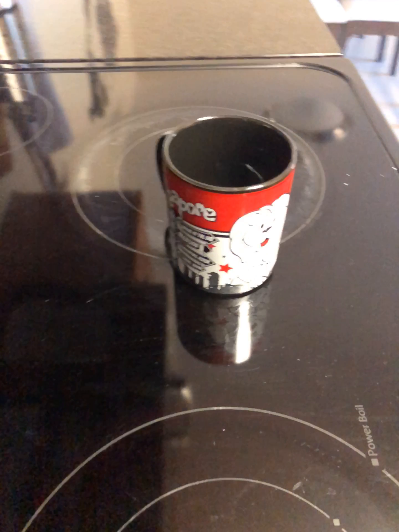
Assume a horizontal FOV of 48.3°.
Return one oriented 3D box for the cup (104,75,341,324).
[{"bbox_3d":[0.008,-0.052,0.306,0.090,0.090,0.130,-23,52,-19],"label":"cup"}]
